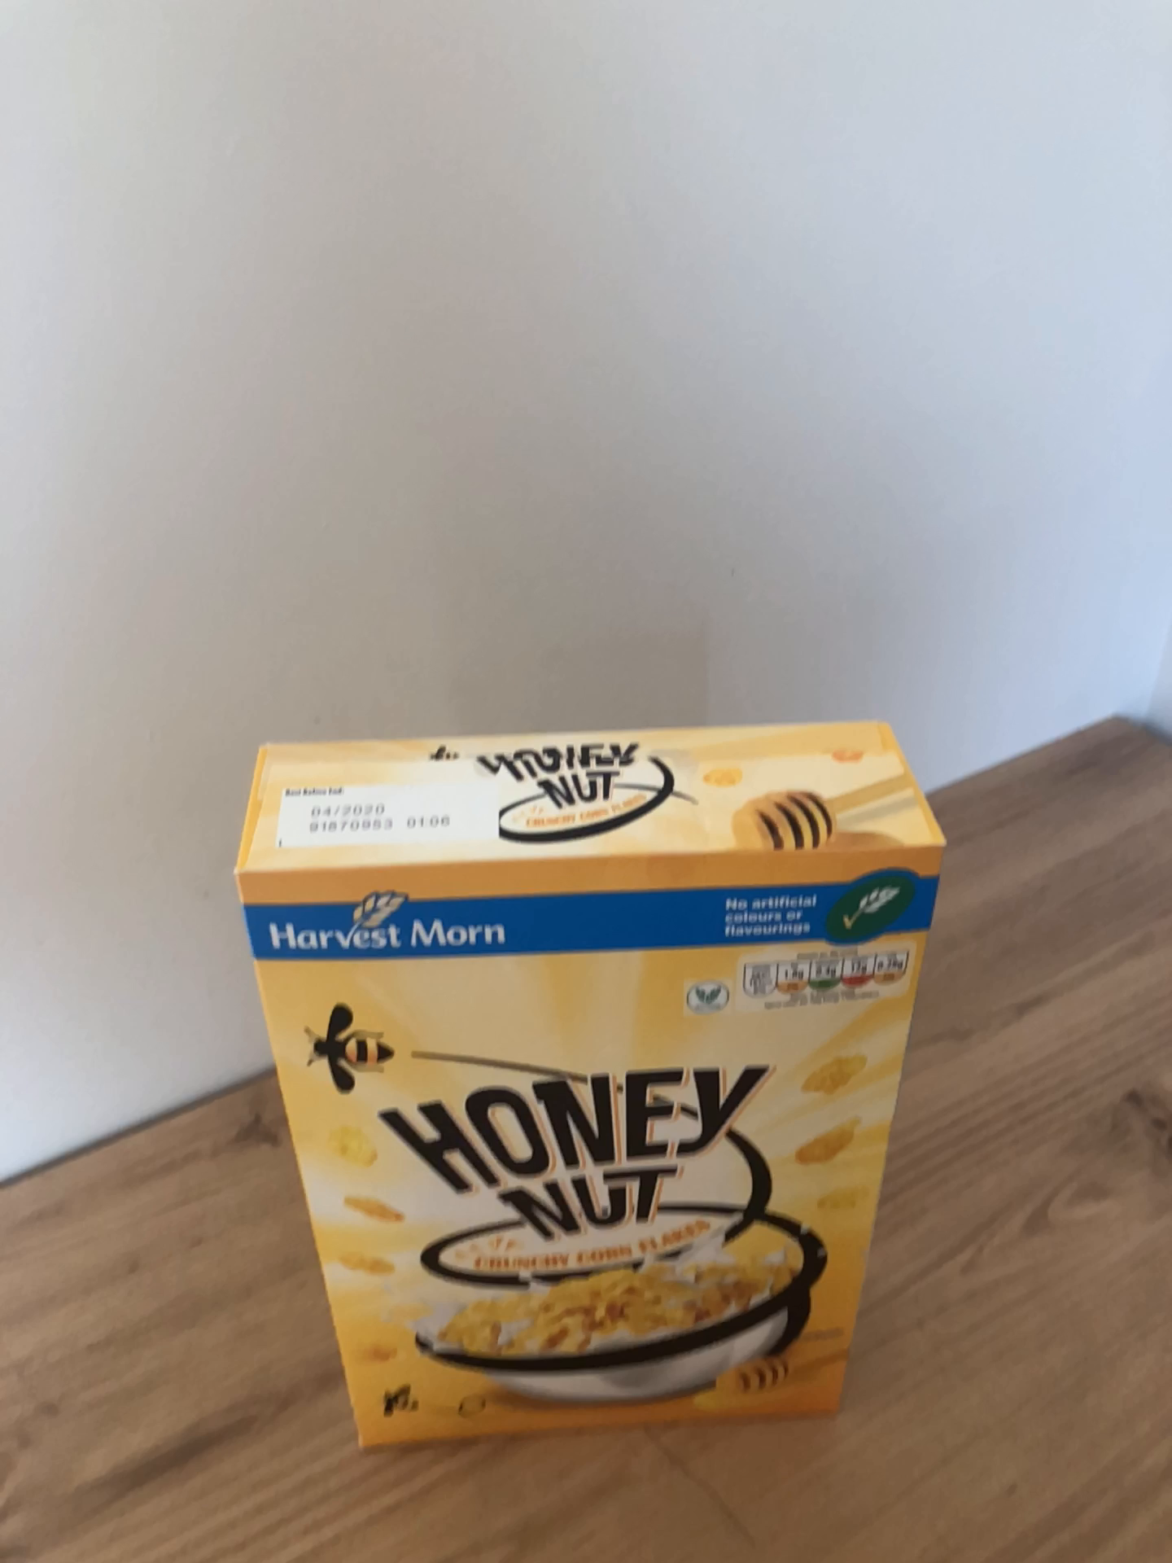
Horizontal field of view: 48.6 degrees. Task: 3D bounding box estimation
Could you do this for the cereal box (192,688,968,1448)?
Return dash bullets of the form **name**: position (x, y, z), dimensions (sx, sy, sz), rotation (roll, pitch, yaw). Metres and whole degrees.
- **cereal box**: position (0.000, 0.115, 0.445), dimensions (0.200, 0.298, 0.060), rotation (-3, 36, -2)
